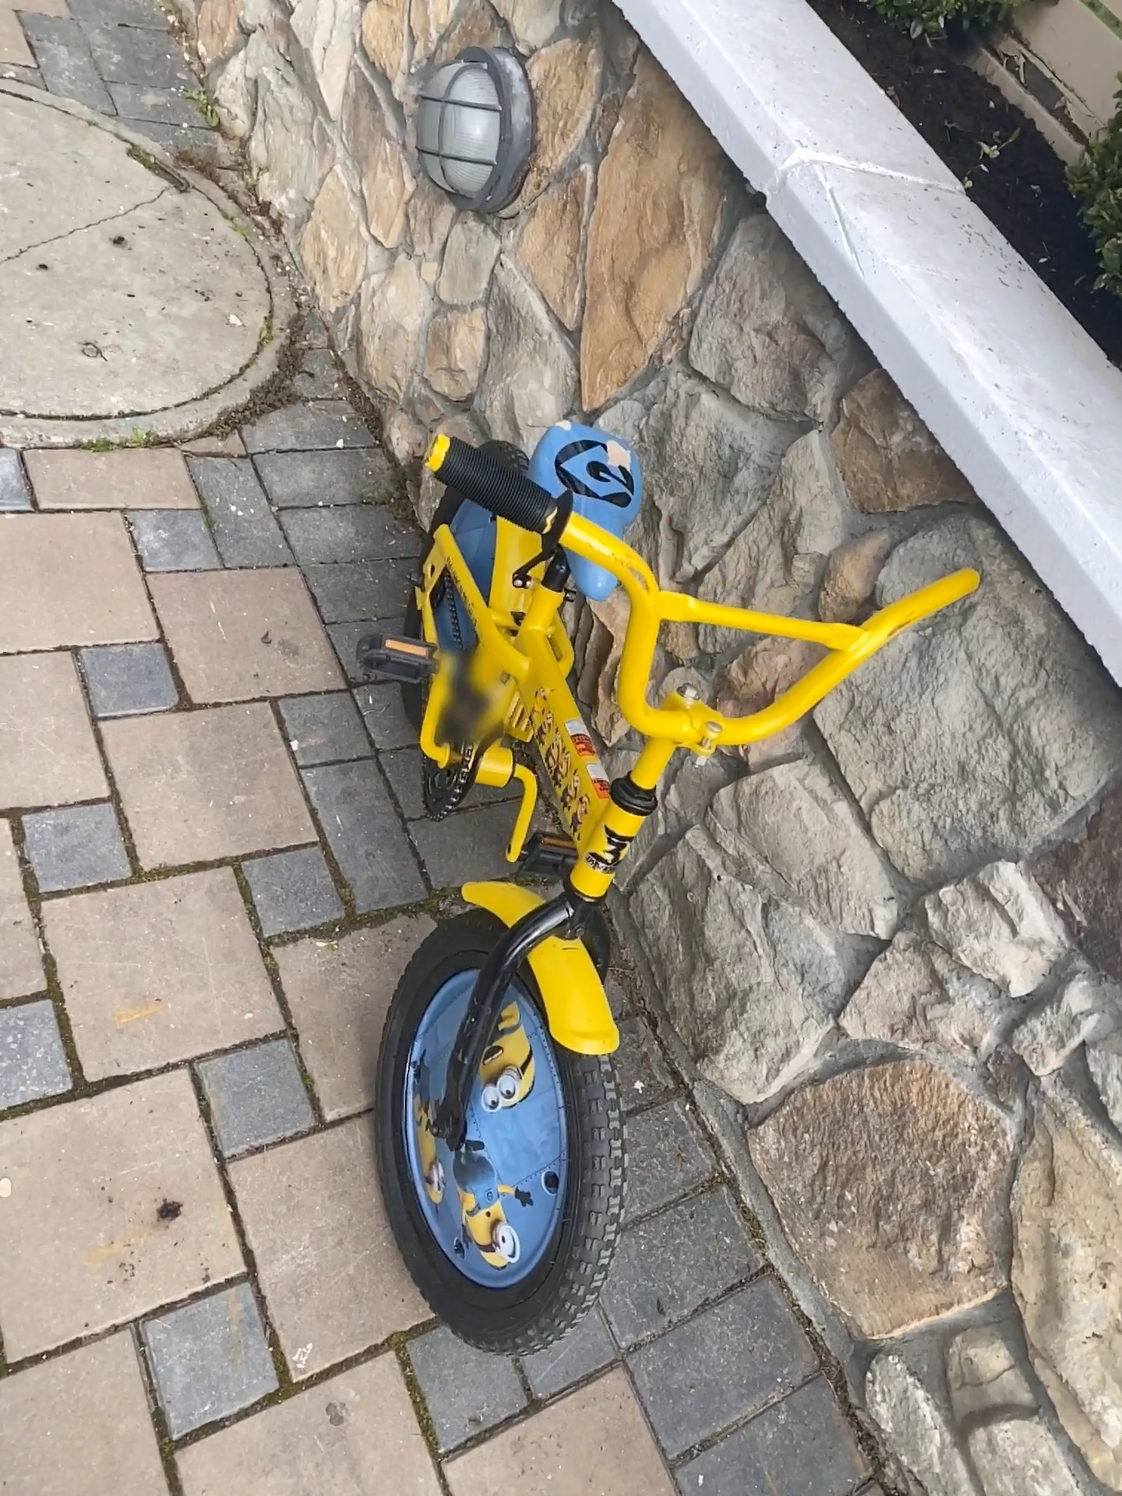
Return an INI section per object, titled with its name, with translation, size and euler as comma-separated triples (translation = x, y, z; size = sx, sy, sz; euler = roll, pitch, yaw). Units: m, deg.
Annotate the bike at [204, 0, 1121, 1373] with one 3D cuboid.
[bike]
translation = 0.035, -0.049, 1.165
size = 0.619, 0.735, 1.090
euler = 9, 49, -24
